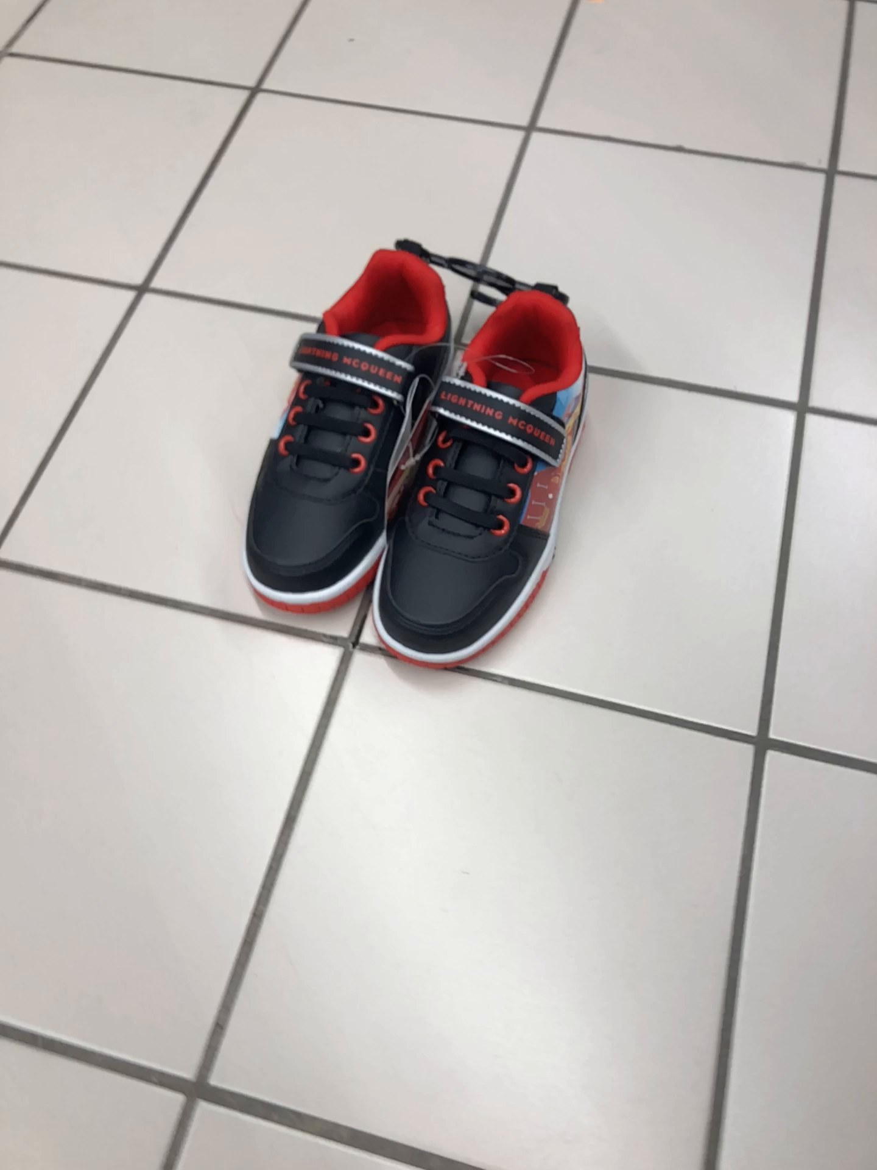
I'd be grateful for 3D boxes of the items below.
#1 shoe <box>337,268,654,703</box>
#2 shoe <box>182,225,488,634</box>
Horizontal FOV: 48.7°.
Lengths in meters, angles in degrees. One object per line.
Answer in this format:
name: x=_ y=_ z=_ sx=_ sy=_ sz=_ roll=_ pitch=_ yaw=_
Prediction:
shoe: x=0.034 y=-0.057 z=0.483 sx=0.094 sy=0.053 sz=0.207 roll=16 pitch=63 yaw=10
shoe: x=-0.044 y=-0.087 z=0.500 sx=0.080 sy=0.053 sz=0.210 roll=16 pitch=63 yaw=10
